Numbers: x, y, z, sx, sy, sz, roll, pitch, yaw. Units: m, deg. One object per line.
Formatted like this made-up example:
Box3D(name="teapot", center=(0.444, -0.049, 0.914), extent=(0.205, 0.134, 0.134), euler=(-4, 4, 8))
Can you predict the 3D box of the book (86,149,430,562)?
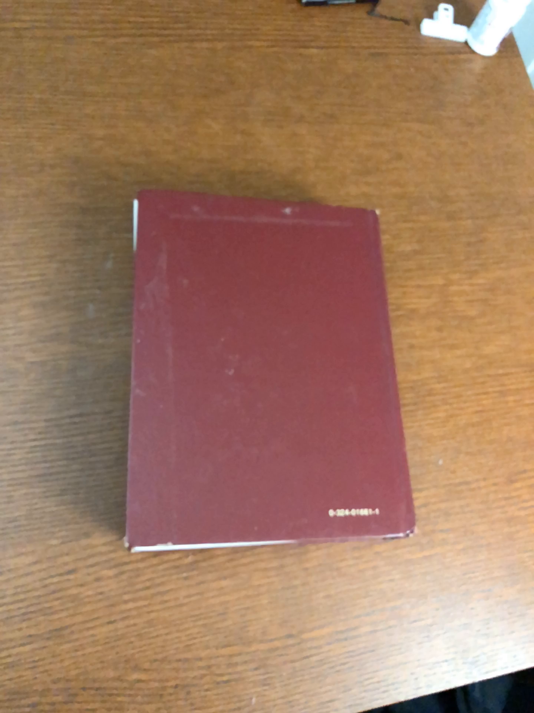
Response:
Box3D(name="book", center=(-0.014, -0.003, 0.454), extent=(0.220, 0.070, 0.291), euler=(2, 70, -13))
